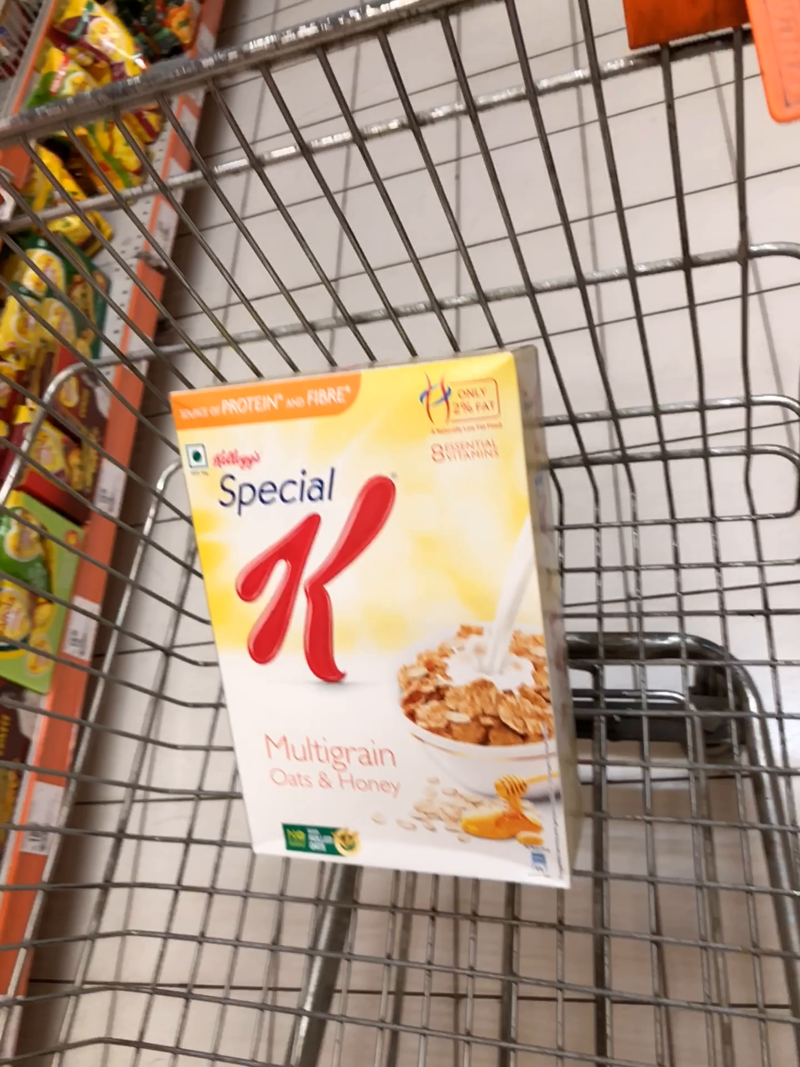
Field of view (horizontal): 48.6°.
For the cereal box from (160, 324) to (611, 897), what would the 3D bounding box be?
[{"bbox_3d":[0.001,0.038,0.477,0.190,0.090,0.269,-2,104,22],"label":"cereal box"}]
